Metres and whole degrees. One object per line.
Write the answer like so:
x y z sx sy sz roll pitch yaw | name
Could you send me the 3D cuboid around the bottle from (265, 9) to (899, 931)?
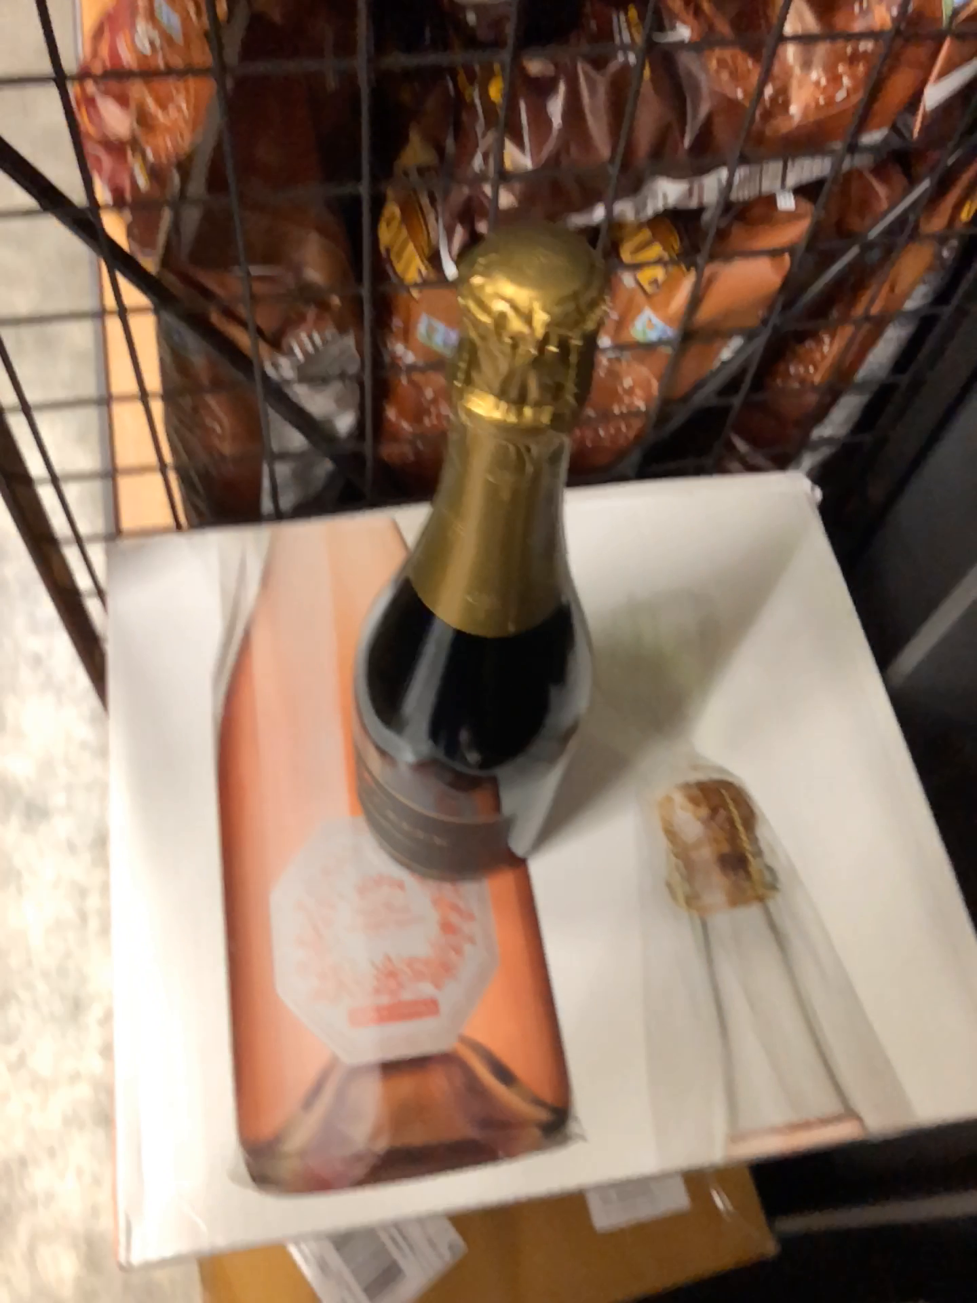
0.003 -0.015 0.346 0.090 0.309 0.090 3 60 -5 | bottle
